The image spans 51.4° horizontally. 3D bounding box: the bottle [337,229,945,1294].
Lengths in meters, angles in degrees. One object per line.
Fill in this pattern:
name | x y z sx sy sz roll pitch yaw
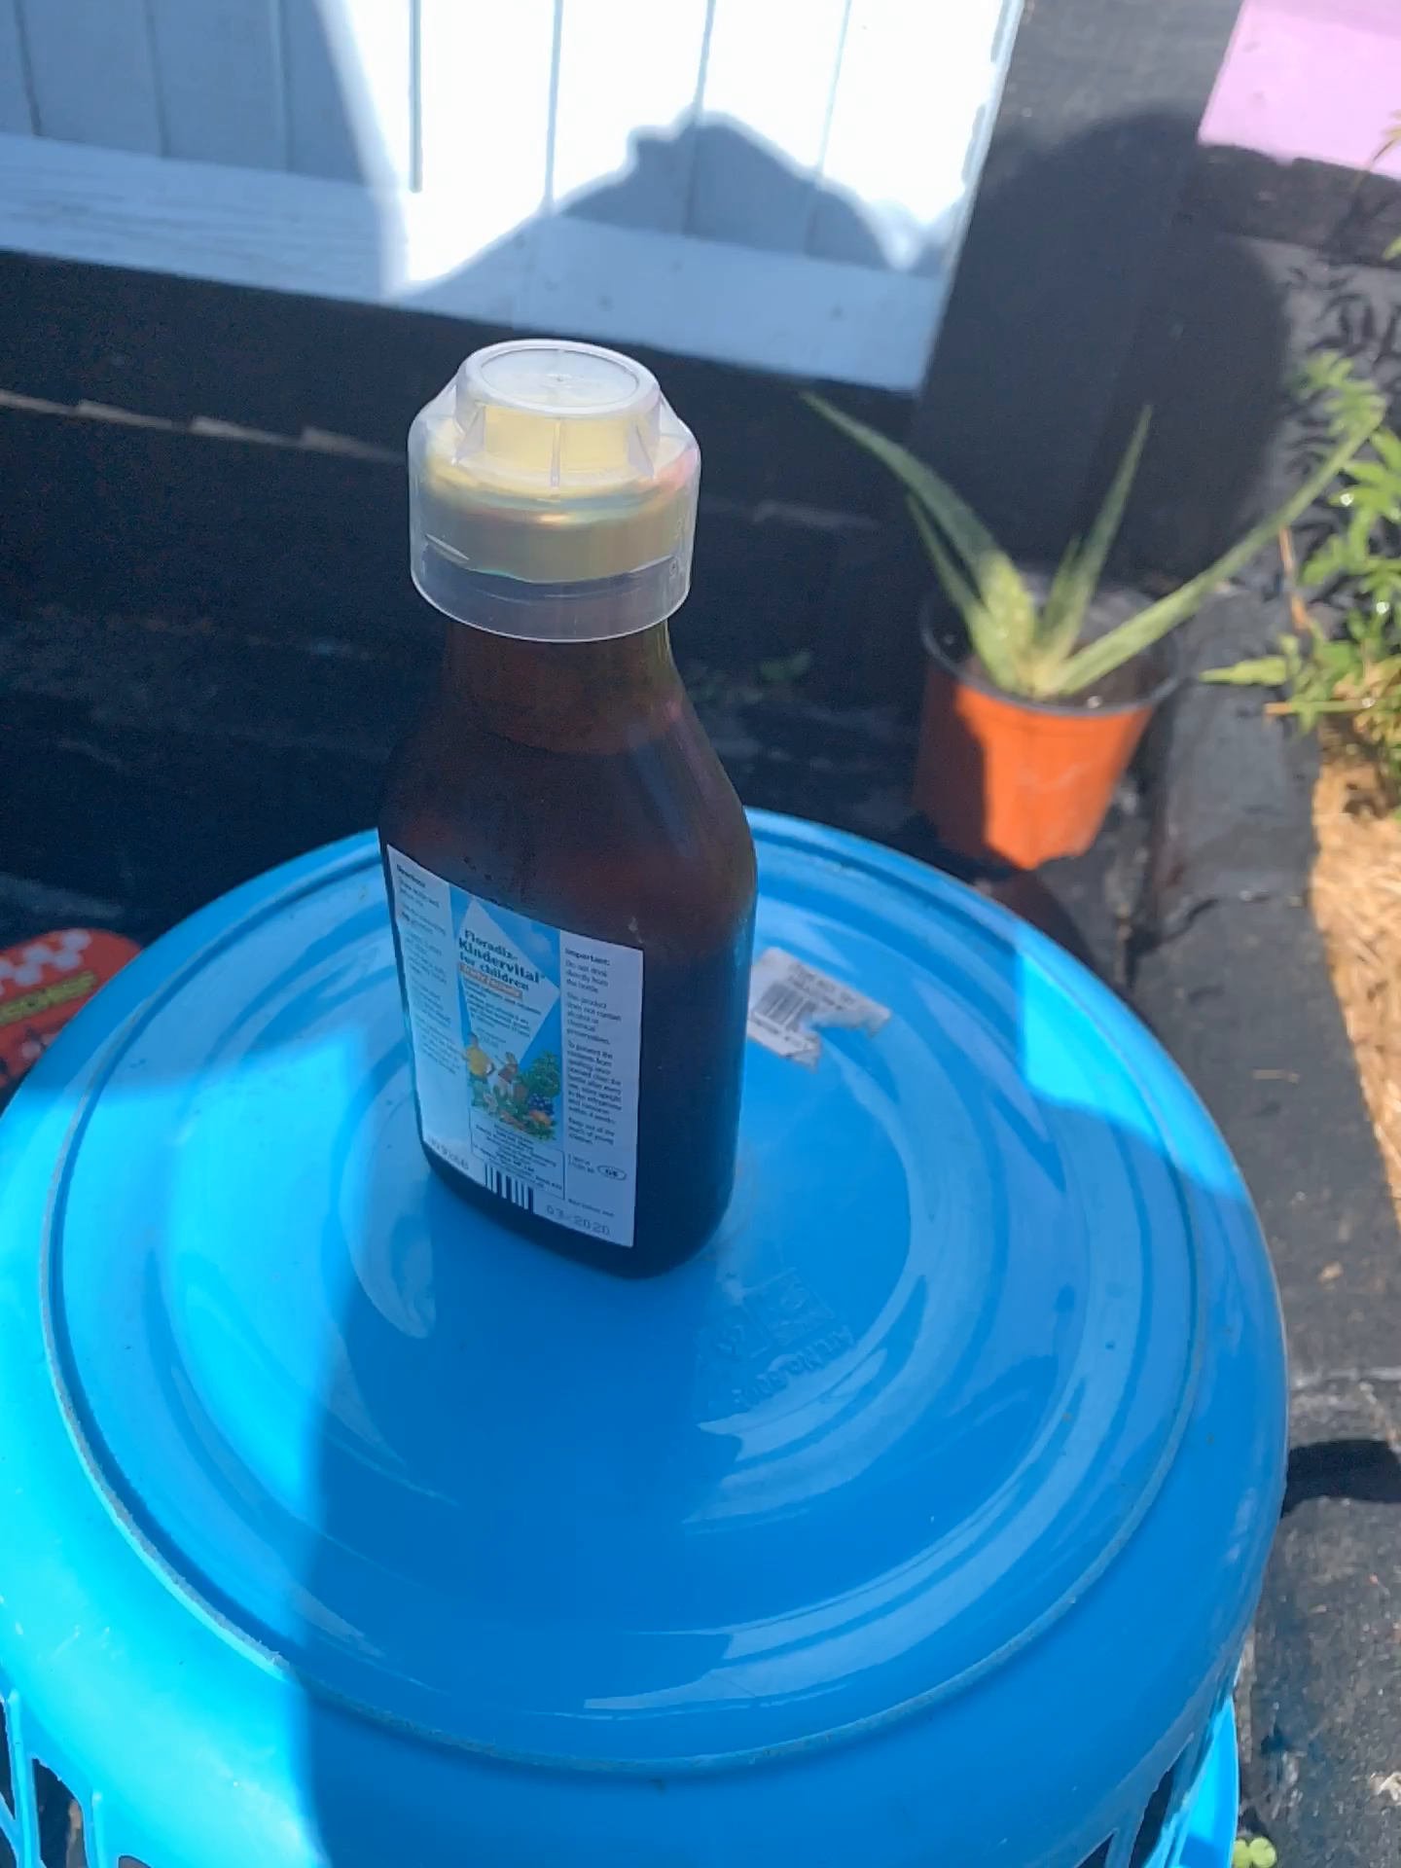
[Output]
bottle | -0.020 -0.019 0.290 0.080 0.198 0.050 21 43 12
